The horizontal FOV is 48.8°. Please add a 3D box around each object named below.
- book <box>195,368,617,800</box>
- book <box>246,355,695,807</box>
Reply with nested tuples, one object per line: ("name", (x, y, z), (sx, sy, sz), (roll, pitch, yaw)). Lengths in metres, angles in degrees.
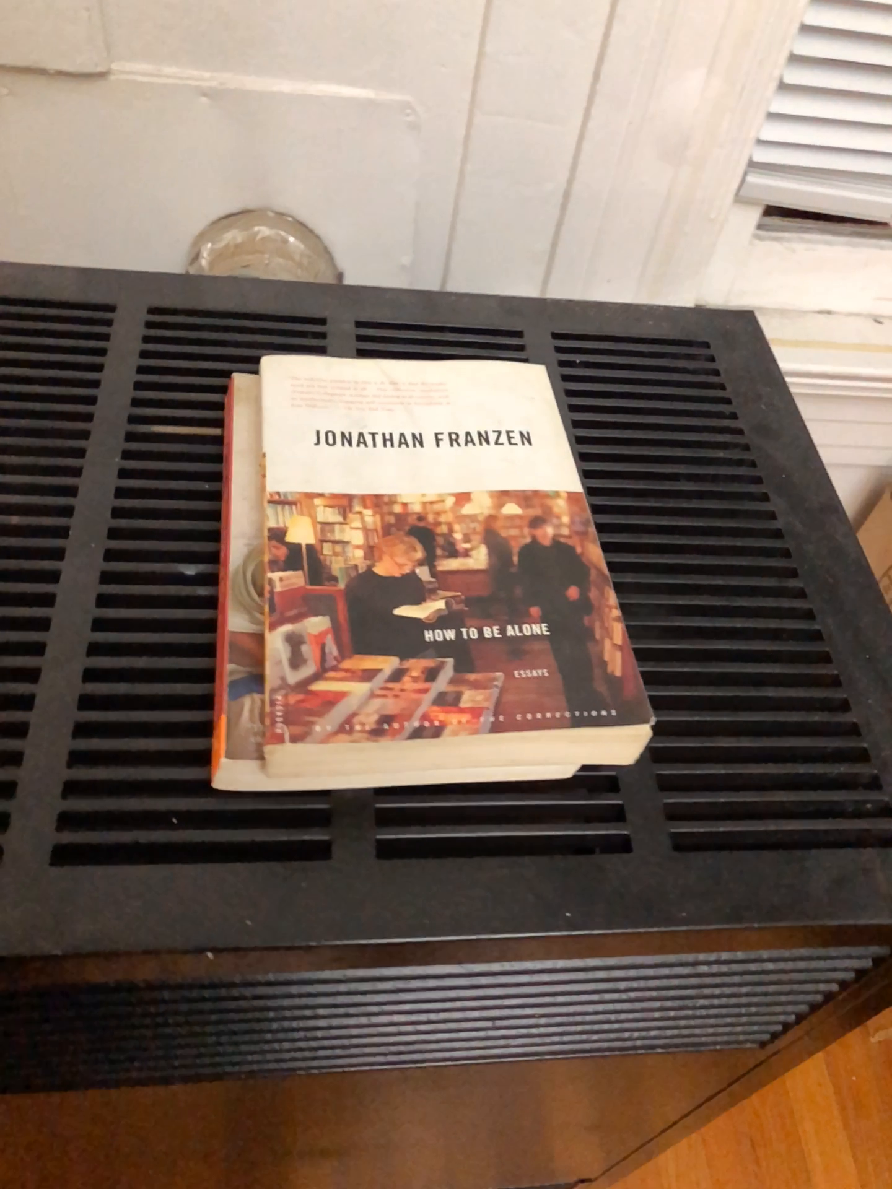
("book", (-0.028, -0.018, 0.423), (0.150, 0.030, 0.211), (-1, 50, -11))
("book", (-0.004, -0.020, 0.405), (0.150, 0.030, 0.211), (-1, 50, -11))
